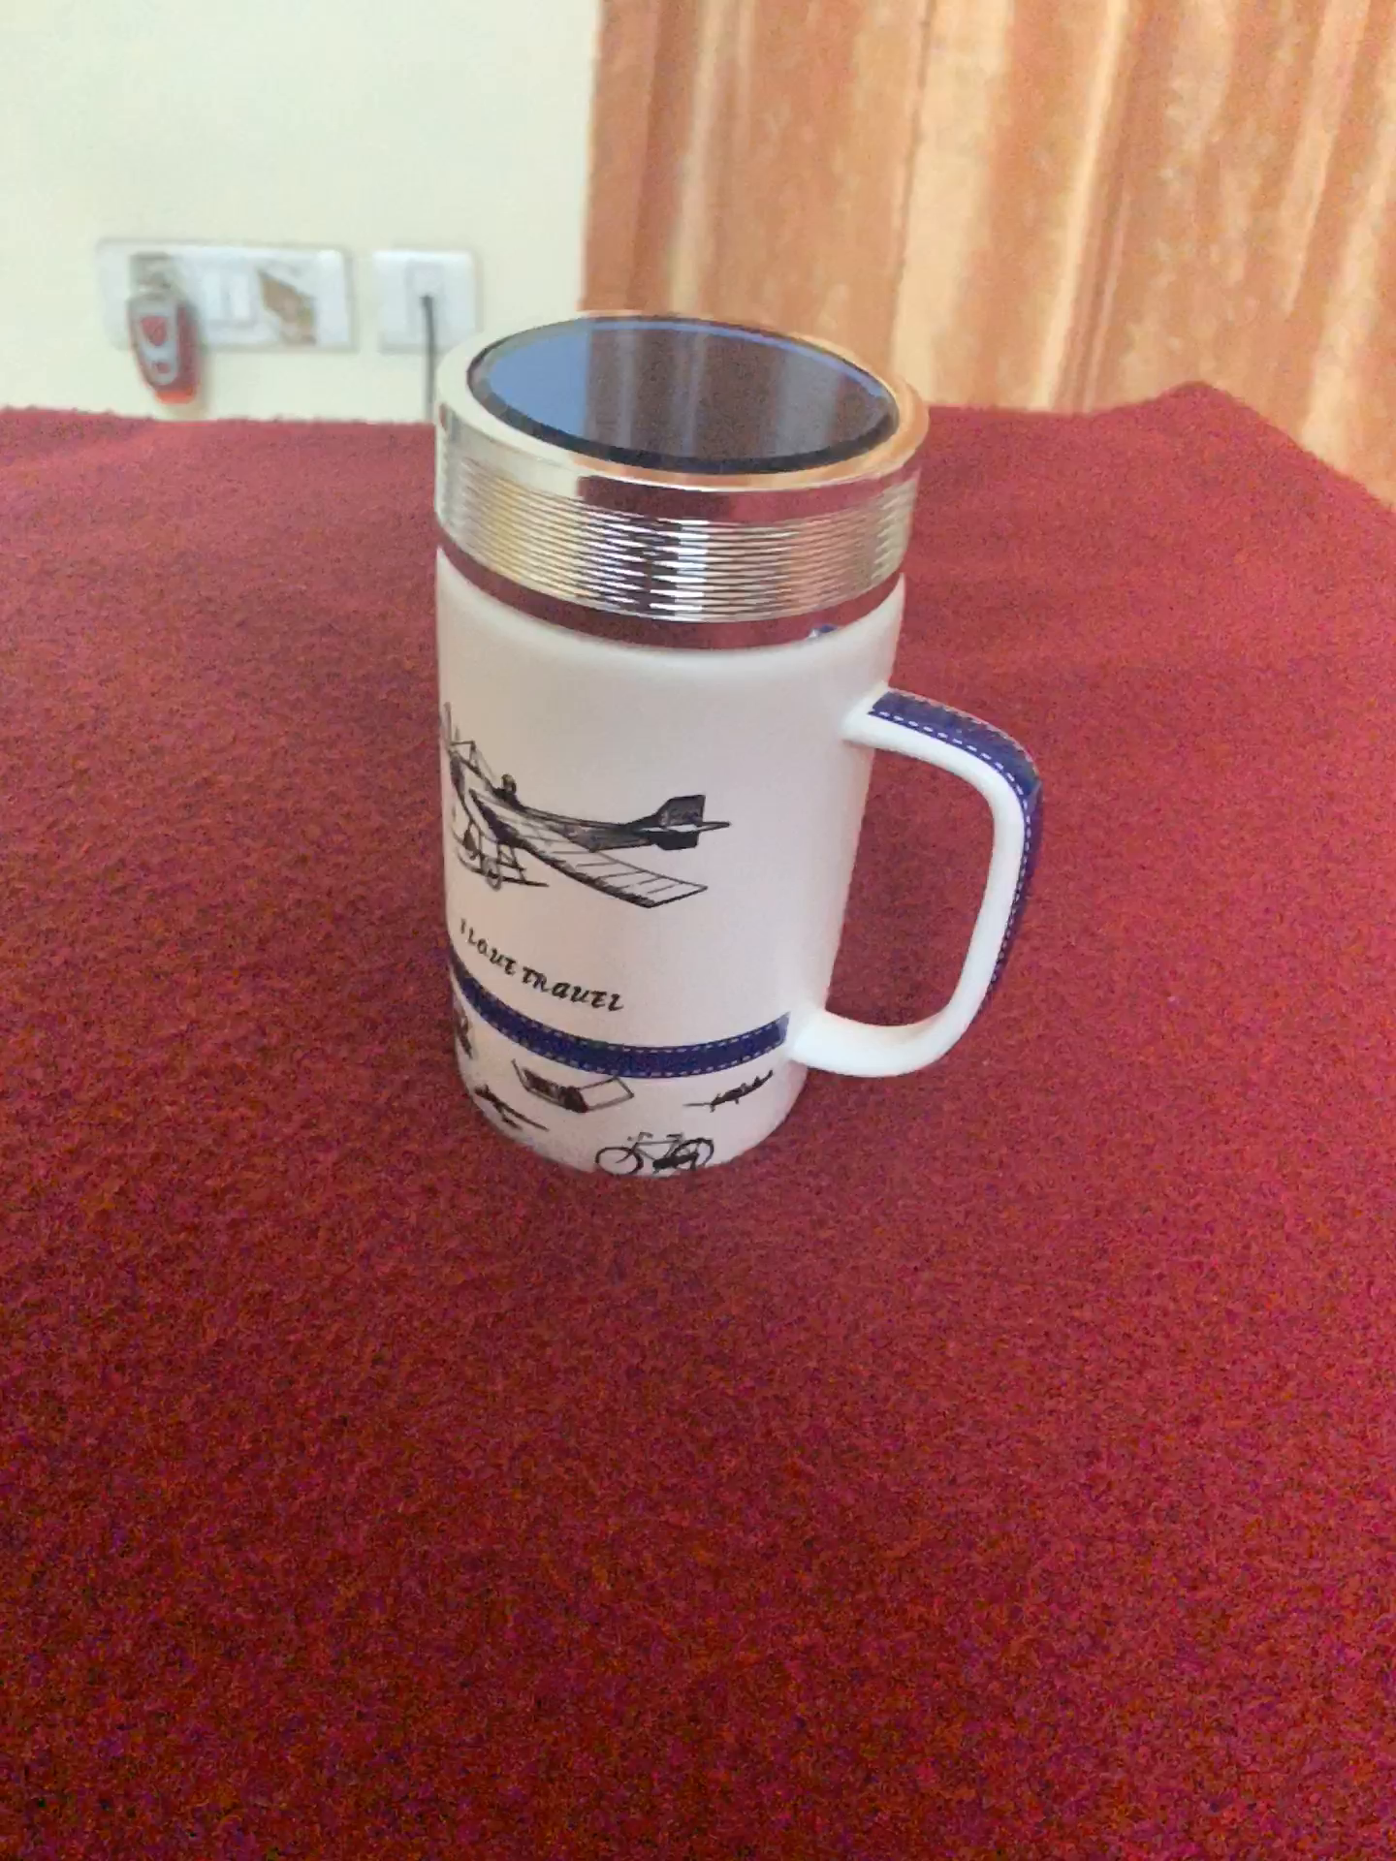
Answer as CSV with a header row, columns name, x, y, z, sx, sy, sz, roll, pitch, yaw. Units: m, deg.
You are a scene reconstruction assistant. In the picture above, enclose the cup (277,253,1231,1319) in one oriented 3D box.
name,x,y,z,sx,sy,sz,roll,pitch,yaw
cup,0.007,-0.030,0.268,0.120,0.139,0.091,23,42,21
